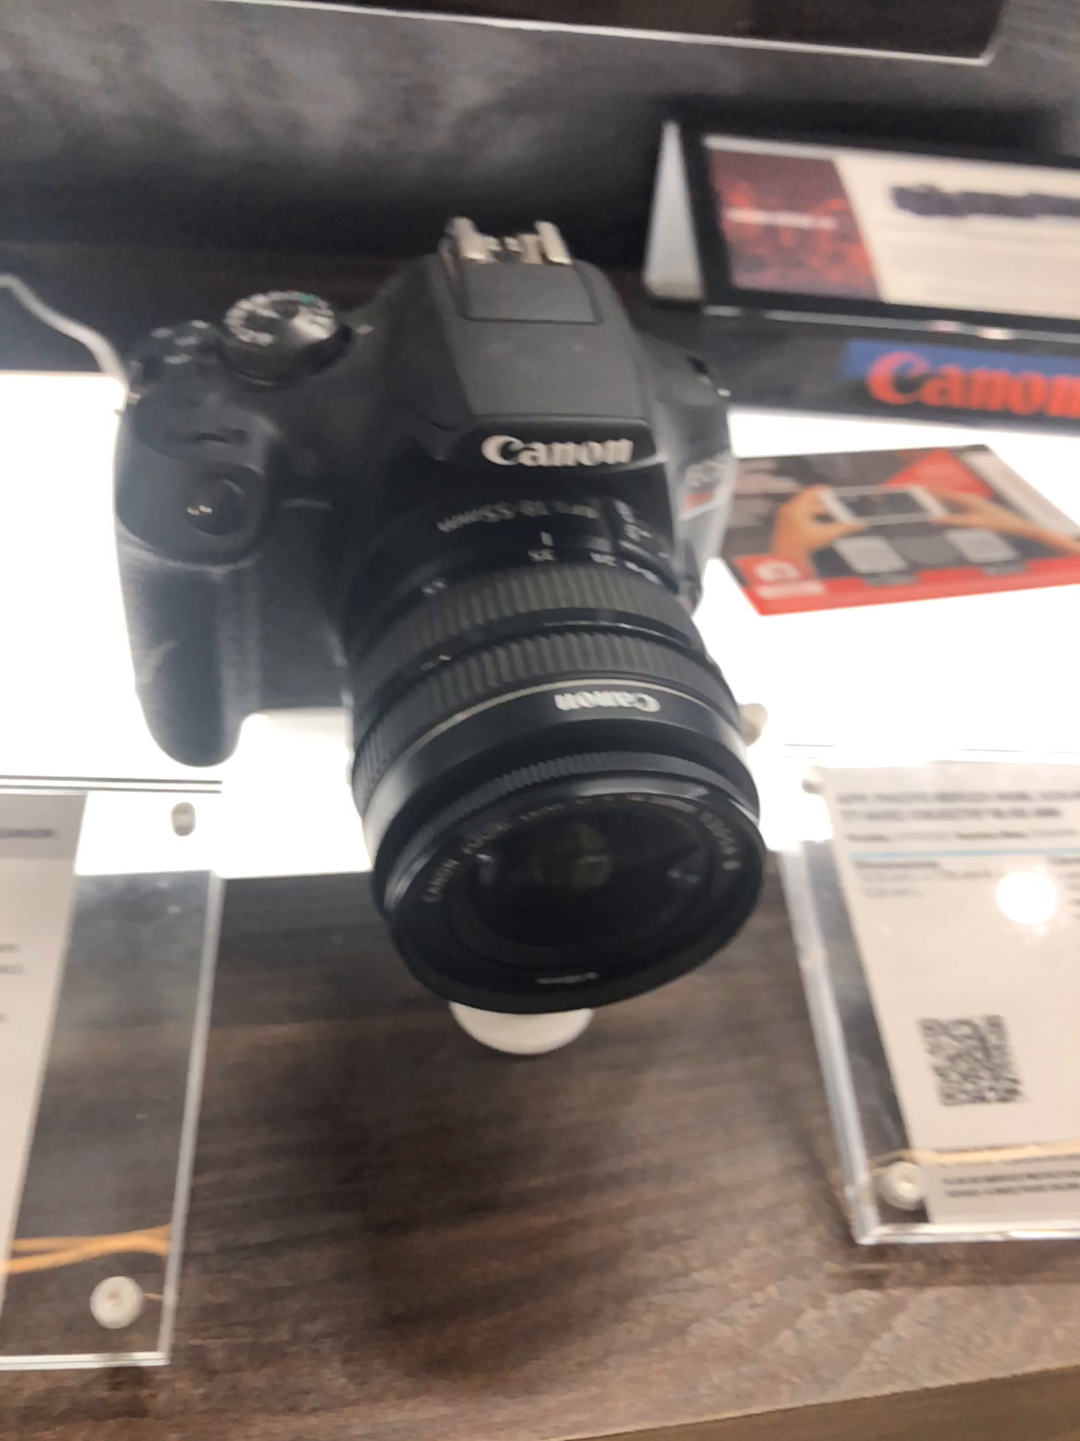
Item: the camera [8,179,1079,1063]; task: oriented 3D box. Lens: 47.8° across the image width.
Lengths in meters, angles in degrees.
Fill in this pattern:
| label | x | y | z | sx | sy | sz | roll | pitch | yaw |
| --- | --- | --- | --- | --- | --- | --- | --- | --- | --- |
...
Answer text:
| label | x | y | z | sx | sy | sz | roll | pitch | yaw |
| --- | --- | --- | --- | --- | --- | --- | --- | --- | --- |
| camera | -0.009 | -0.024 | 0.215 | 0.128 | 0.099 | 0.112 | -3 | 40 | -12 |
